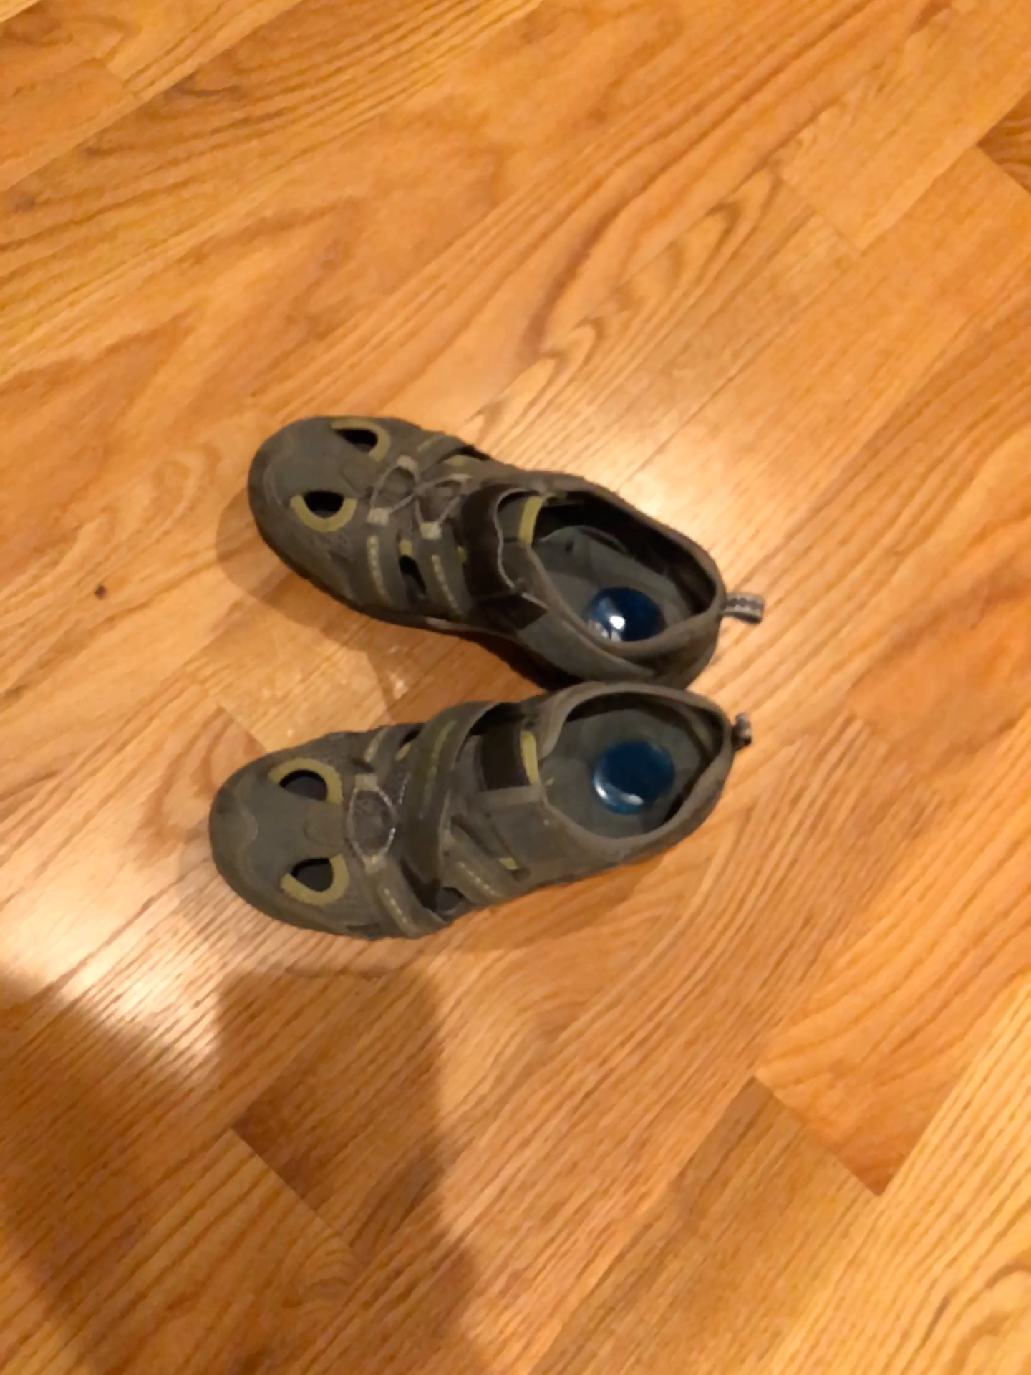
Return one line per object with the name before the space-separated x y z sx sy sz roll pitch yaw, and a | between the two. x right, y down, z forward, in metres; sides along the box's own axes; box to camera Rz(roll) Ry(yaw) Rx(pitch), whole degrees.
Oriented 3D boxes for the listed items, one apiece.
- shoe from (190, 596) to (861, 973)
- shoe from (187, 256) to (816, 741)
shoe | -0.002 0.043 0.488 0.245 0.113 0.100 -9 76 -15
shoe | -0.009 -0.076 0.524 0.245 0.113 0.100 20 70 -6
